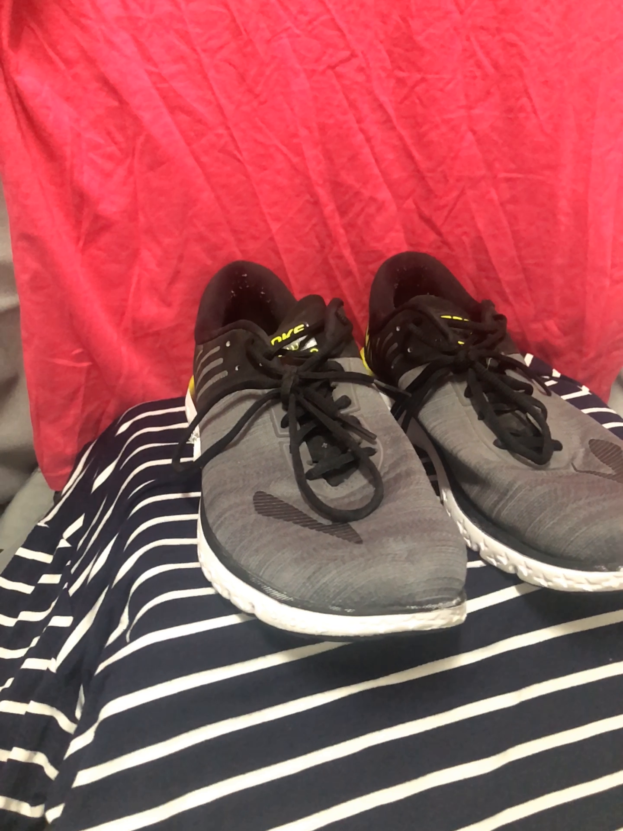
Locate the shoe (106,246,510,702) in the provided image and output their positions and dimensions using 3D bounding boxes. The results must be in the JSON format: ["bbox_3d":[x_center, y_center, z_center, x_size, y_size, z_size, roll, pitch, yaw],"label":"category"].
[{"bbox_3d":[-0.033,-0.011,0.348,0.102,0.079,0.292,-10,28,-18],"label":"shoe"}]

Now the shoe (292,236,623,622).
[{"bbox_3d":[0.082,-0.026,0.375,0.104,0.079,0.282,-9,28,-17],"label":"shoe"}]
